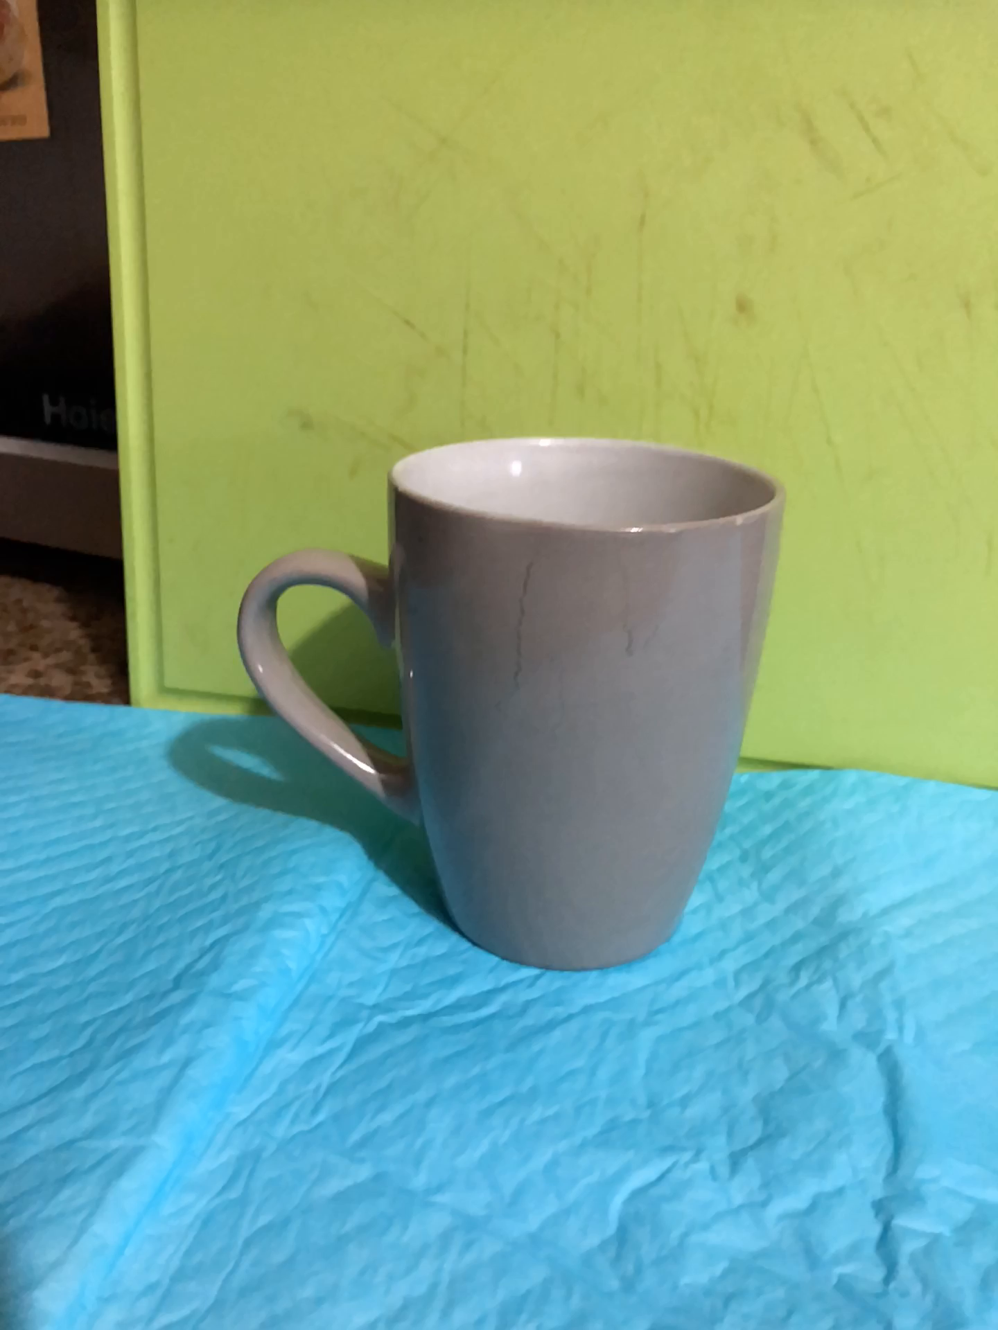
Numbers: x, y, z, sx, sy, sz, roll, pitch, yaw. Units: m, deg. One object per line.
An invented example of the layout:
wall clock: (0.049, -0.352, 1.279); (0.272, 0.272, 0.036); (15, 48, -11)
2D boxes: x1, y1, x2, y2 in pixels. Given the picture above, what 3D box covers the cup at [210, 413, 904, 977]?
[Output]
cup: (0.006, 0.002, 0.224); (0.110, 0.090, 0.070); (1, 21, -6)
